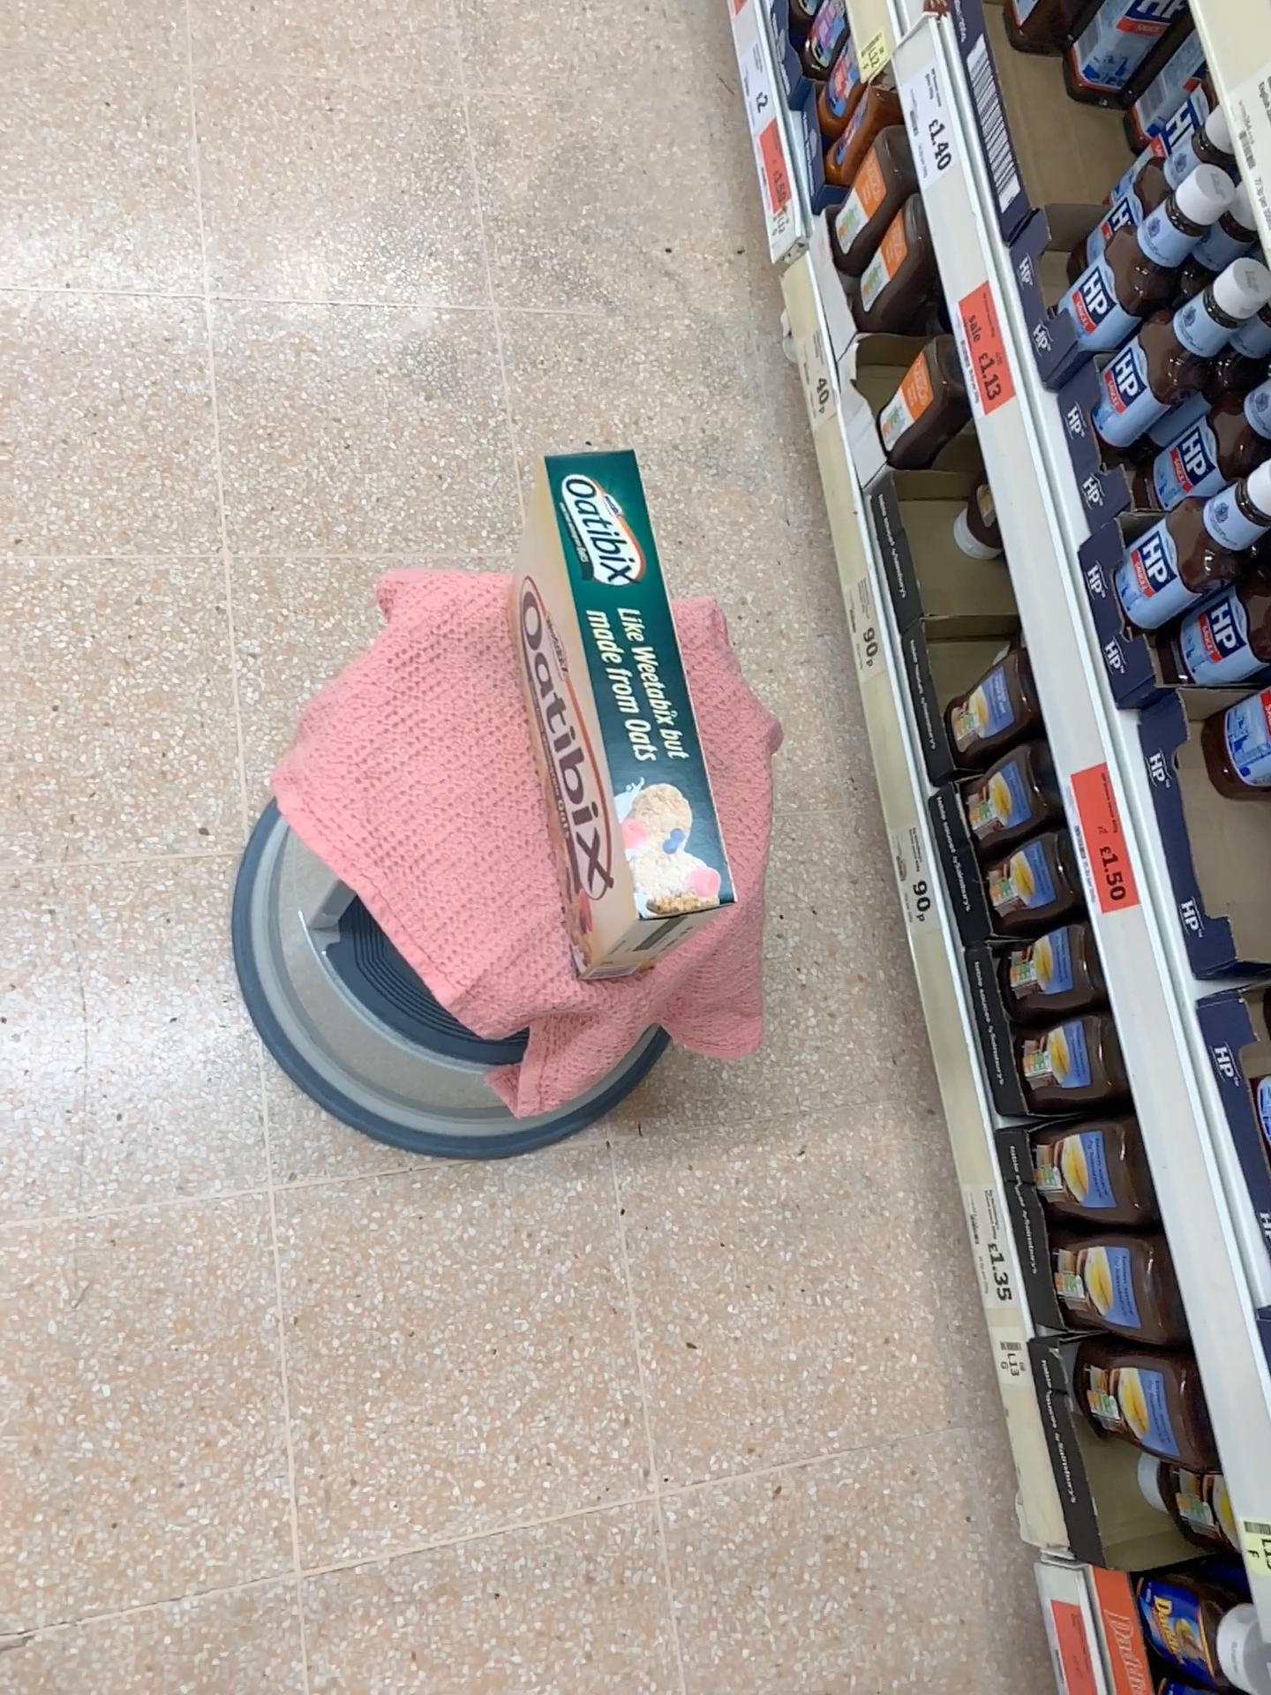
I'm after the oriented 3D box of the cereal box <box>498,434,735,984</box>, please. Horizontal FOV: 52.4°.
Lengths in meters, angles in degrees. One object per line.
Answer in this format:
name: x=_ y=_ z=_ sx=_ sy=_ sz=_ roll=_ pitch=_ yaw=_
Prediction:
cereal box: x=-0.022 y=-0.072 z=0.768 sx=0.060 sy=0.189 sz=0.271 roll=-7 pitch=76 yaw=-14
